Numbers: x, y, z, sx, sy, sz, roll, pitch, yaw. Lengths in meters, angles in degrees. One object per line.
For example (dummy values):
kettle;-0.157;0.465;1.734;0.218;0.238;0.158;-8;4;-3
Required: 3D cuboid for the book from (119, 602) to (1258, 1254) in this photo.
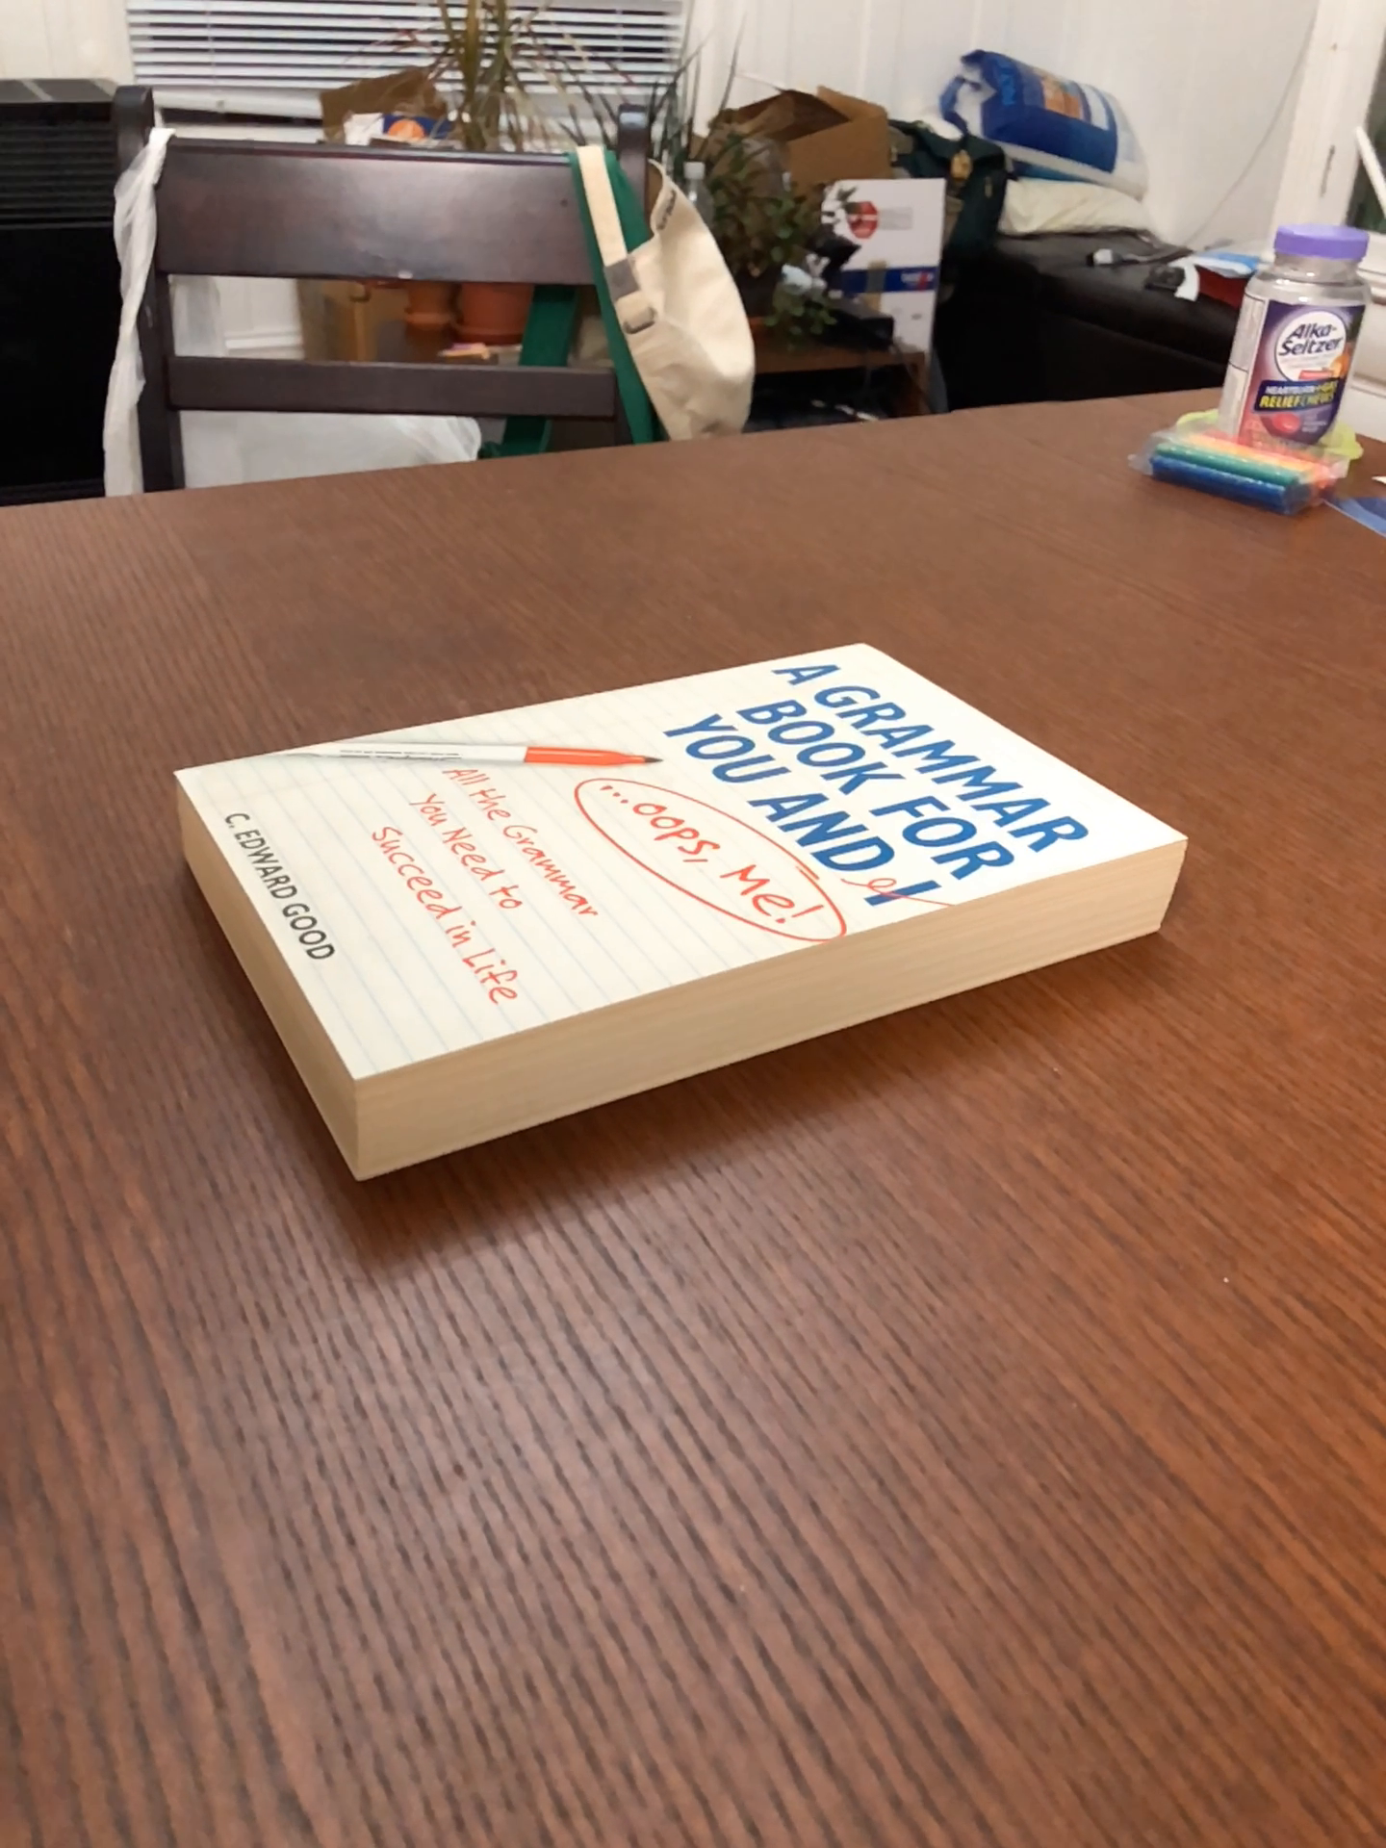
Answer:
book;-0.006;-0.021;0.402;0.240;0.040;0.171;-14;36;-25
